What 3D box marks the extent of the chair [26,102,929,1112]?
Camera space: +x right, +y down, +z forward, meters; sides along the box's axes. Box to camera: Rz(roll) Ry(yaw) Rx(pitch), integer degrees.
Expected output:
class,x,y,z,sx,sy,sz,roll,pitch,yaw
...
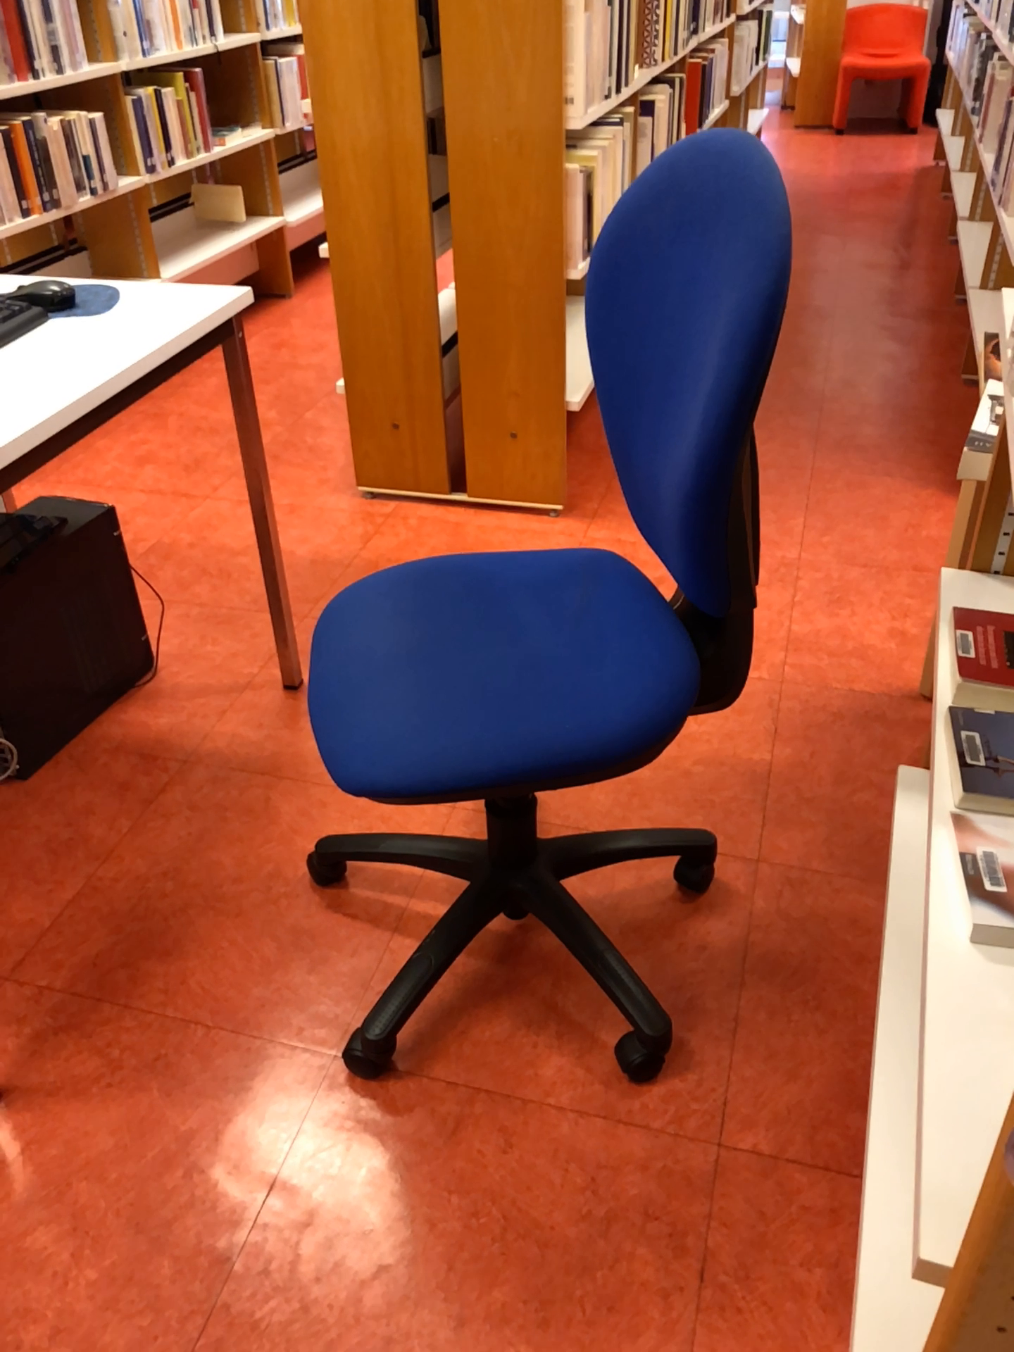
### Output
class,x,y,z,sx,sy,sz,roll,pitch,yaw
chair,-0.031,-0.100,1.287,0.620,0.914,0.664,-5,34,-4
